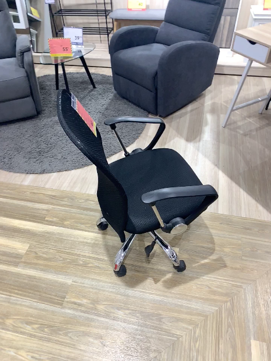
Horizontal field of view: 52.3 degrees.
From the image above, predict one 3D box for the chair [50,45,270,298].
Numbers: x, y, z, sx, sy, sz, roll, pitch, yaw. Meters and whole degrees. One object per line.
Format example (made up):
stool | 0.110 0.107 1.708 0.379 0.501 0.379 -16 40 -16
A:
chair | 0.043 -0.032 1.291 0.601 0.865 0.644 -14 45 -11
